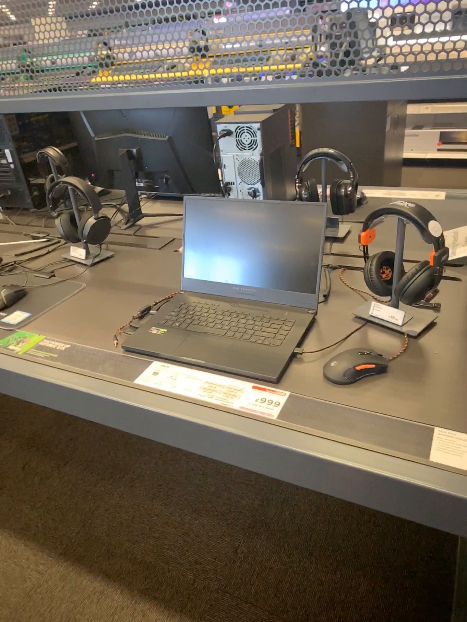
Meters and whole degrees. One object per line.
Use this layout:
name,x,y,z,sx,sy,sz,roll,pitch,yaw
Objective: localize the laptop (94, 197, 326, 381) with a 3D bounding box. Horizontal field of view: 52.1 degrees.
laptop,-0.025,-0.073,0.994,0.348,0.203,0.325,10,35,24
